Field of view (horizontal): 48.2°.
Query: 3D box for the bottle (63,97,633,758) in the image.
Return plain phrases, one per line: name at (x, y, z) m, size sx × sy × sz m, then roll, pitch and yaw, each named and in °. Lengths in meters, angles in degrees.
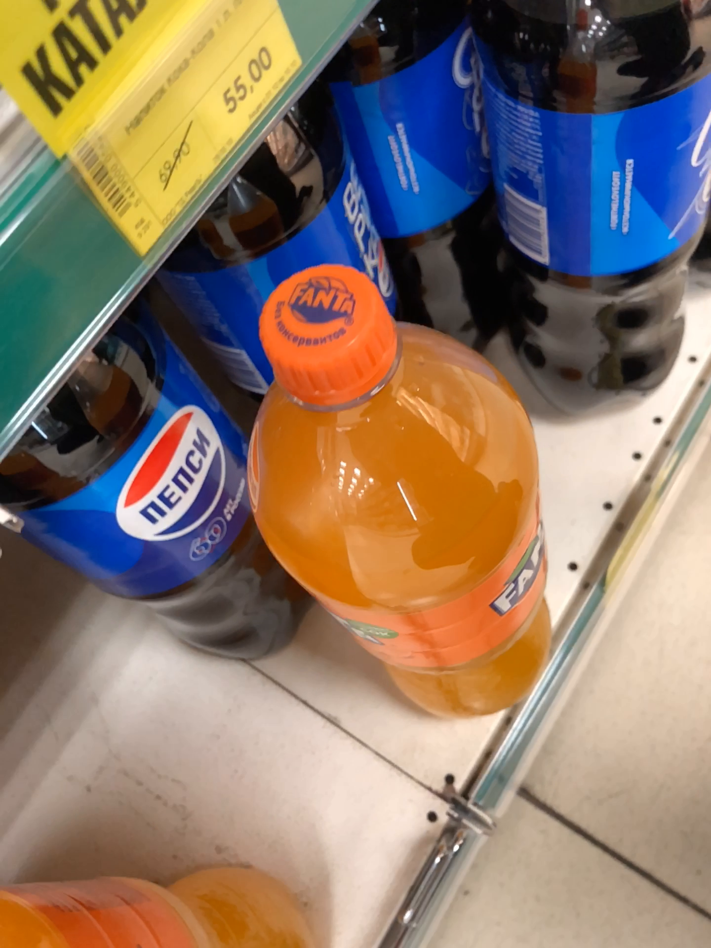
bottle at (0.034, 0.025, 0.309) m, size 0.090 × 0.309 × 0.100 m, roll 23°, pitch 73°, yaw 24°
